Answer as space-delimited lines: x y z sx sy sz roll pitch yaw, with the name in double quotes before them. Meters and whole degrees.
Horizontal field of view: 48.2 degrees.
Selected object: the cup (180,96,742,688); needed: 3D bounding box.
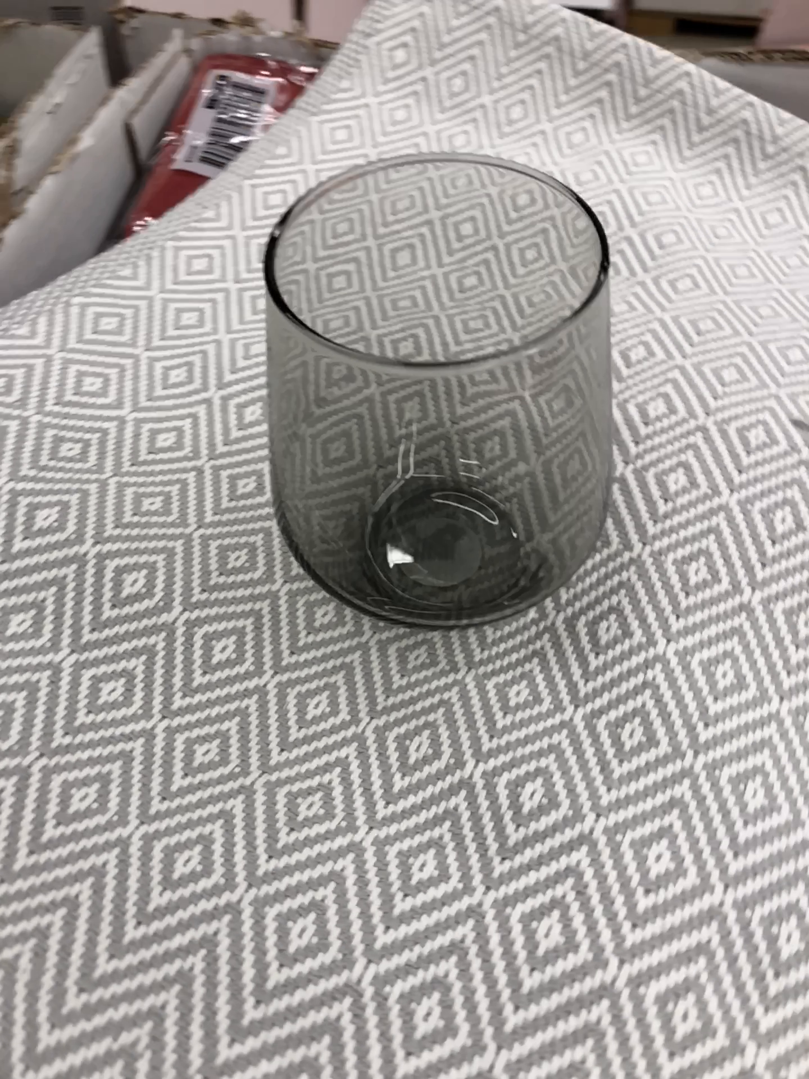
"cup" 0.005 -0.032 0.196 0.080 0.080 0.080 0 52 0
